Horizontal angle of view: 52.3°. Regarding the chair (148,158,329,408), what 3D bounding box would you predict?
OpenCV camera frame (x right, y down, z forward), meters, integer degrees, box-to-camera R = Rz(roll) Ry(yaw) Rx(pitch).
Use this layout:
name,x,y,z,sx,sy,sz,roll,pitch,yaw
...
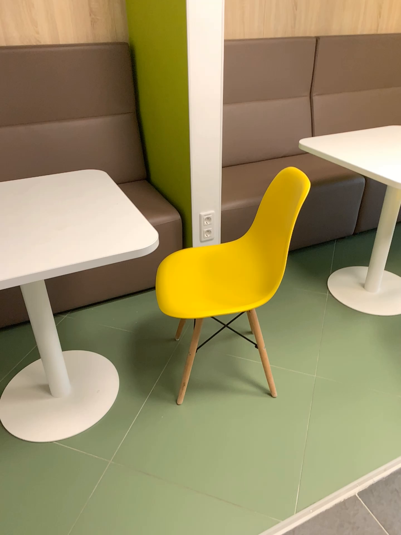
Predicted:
name,x,y,z,sx,sy,sz,roll,pitch,yaw
chair,0.092,0.061,1.547,0.520,0.815,0.412,-4,31,-6
